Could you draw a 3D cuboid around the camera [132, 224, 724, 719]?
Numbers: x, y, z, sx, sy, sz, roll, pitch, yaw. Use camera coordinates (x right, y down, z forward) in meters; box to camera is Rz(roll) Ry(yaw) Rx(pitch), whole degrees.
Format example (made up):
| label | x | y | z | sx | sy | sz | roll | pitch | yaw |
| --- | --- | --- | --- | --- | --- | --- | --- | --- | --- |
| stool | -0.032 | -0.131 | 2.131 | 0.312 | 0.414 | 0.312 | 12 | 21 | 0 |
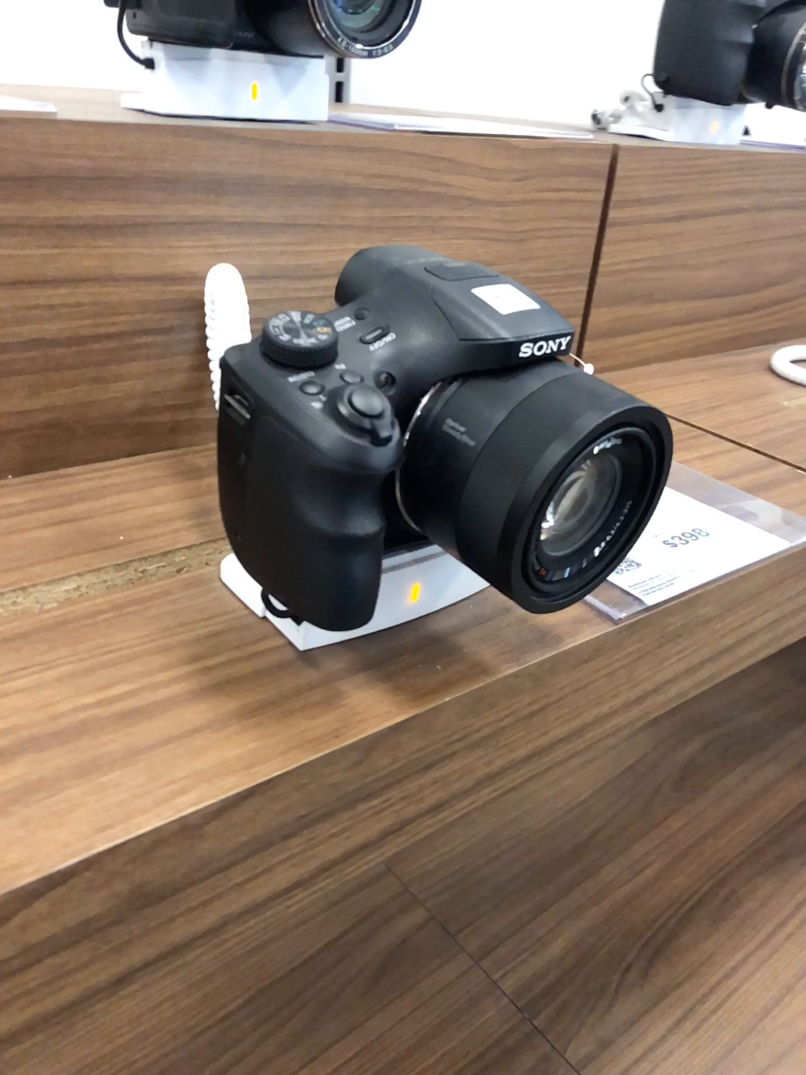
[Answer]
| label | x | y | z | sx | sy | sz | roll | pitch | yaw |
| --- | --- | --- | --- | --- | --- | --- | --- | --- | --- |
| camera | 0.000 | -0.039 | 0.308 | 0.130 | 0.100 | 0.140 | -17 | 38 | -37 |
